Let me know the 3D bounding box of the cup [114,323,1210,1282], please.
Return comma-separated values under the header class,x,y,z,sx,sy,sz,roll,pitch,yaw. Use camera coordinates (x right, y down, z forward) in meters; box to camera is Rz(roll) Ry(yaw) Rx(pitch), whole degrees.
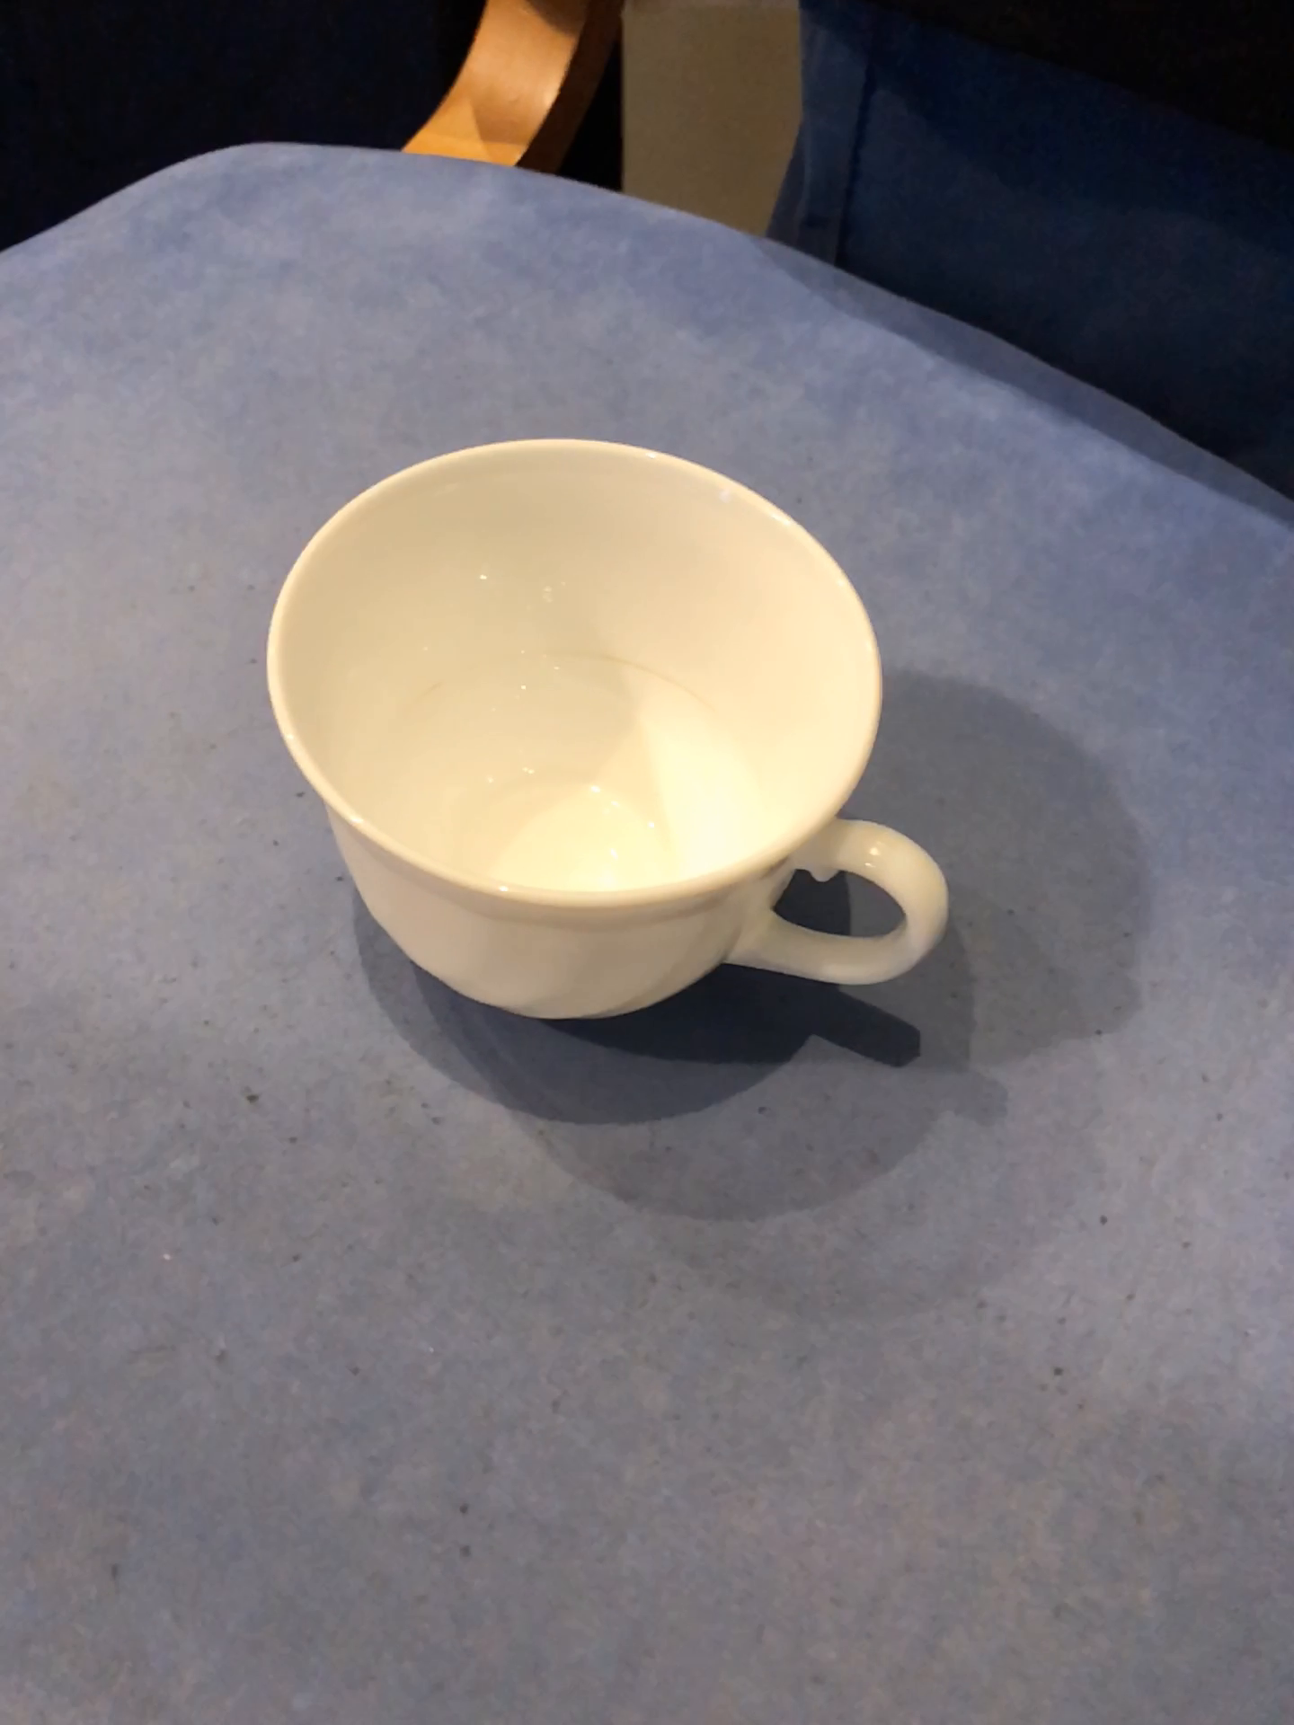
class,x,y,z,sx,sy,sz,roll,pitch,yaw
cup,0.002,-0.013,0.209,0.120,0.050,0.080,30,59,14
